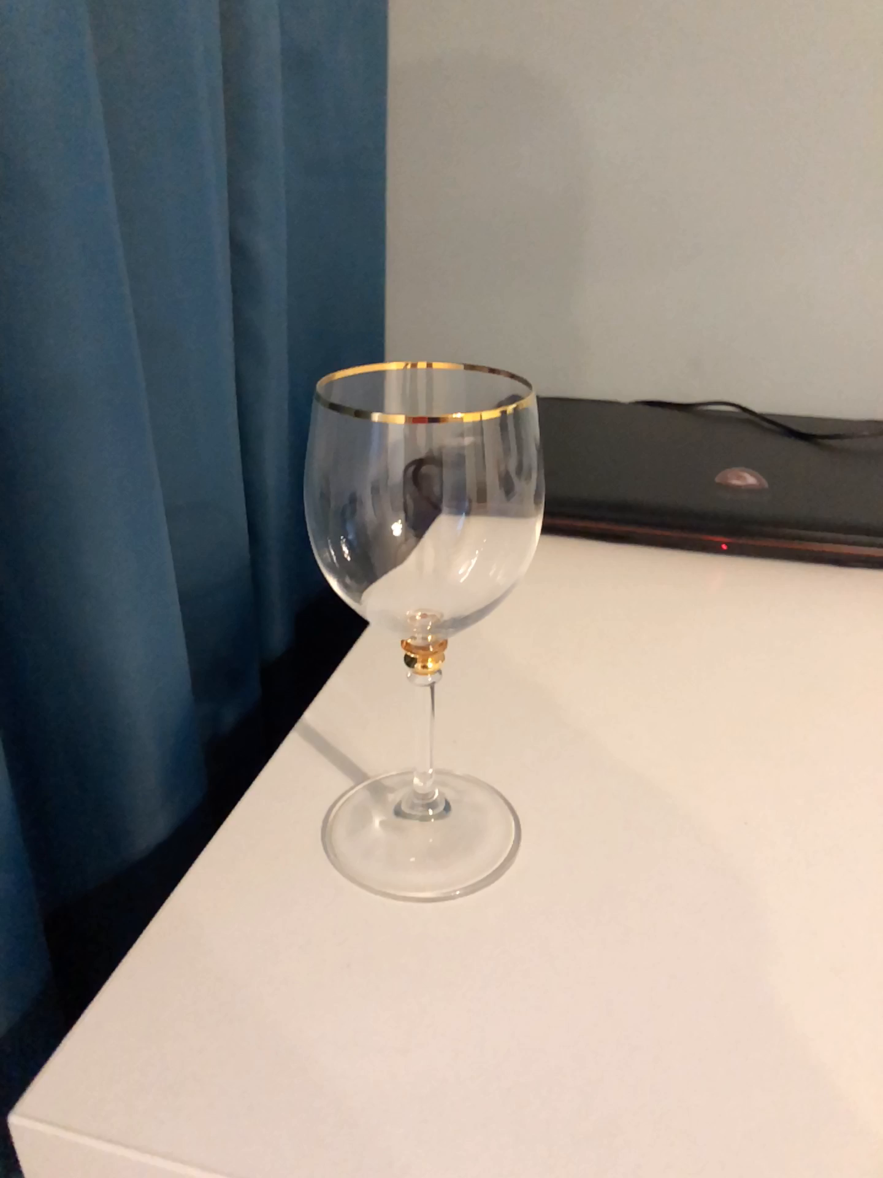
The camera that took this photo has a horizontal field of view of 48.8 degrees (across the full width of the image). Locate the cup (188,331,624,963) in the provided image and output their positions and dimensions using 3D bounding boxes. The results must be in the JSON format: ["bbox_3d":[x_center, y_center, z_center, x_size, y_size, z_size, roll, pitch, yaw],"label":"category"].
[{"bbox_3d":[-0.012,0.011,0.348,0.100,0.179,0.100,0,24,0],"label":"cup"}]
